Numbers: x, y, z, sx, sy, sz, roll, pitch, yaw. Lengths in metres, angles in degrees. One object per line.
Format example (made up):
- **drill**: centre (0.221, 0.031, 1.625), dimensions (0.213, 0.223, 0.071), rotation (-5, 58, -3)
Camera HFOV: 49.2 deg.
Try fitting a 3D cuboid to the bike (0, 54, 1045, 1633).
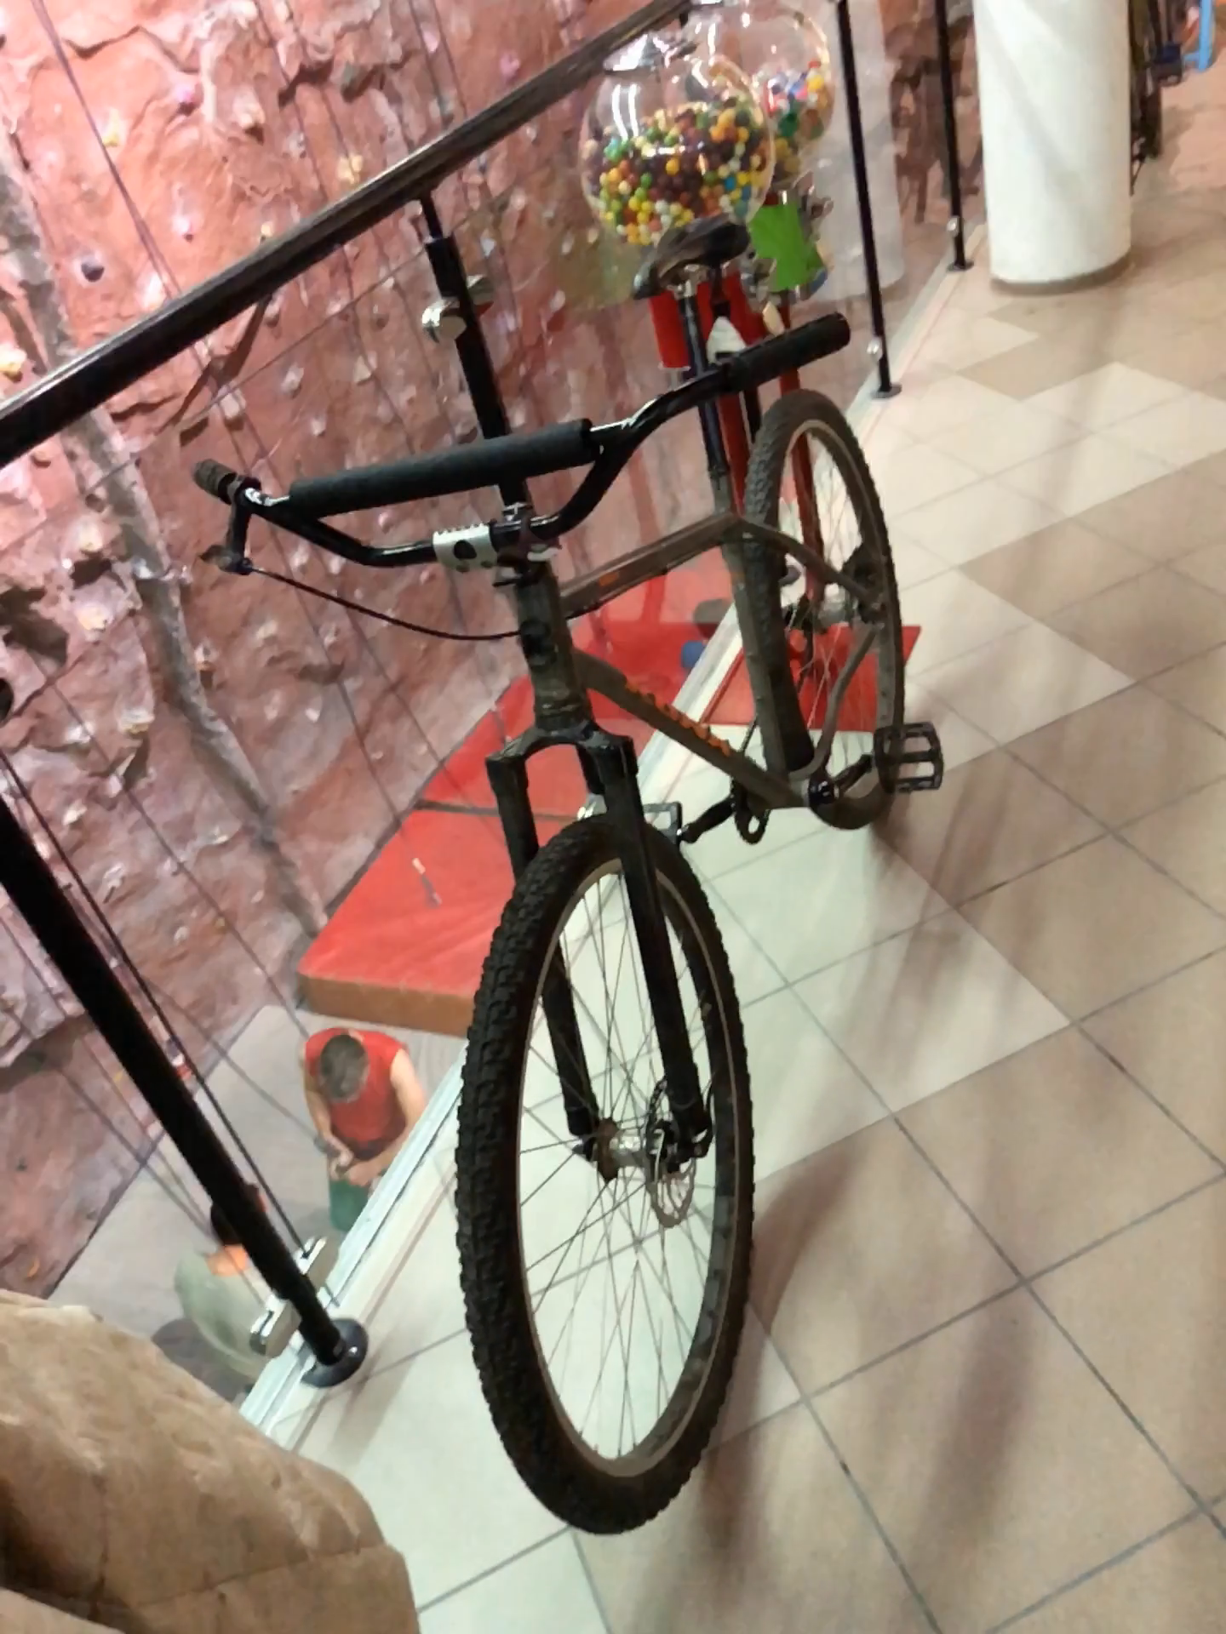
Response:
- **bike**: centre (0.081, -0.178, 1.768), dimensions (0.749, 1.099, 1.831), rotation (1, 37, 23)
